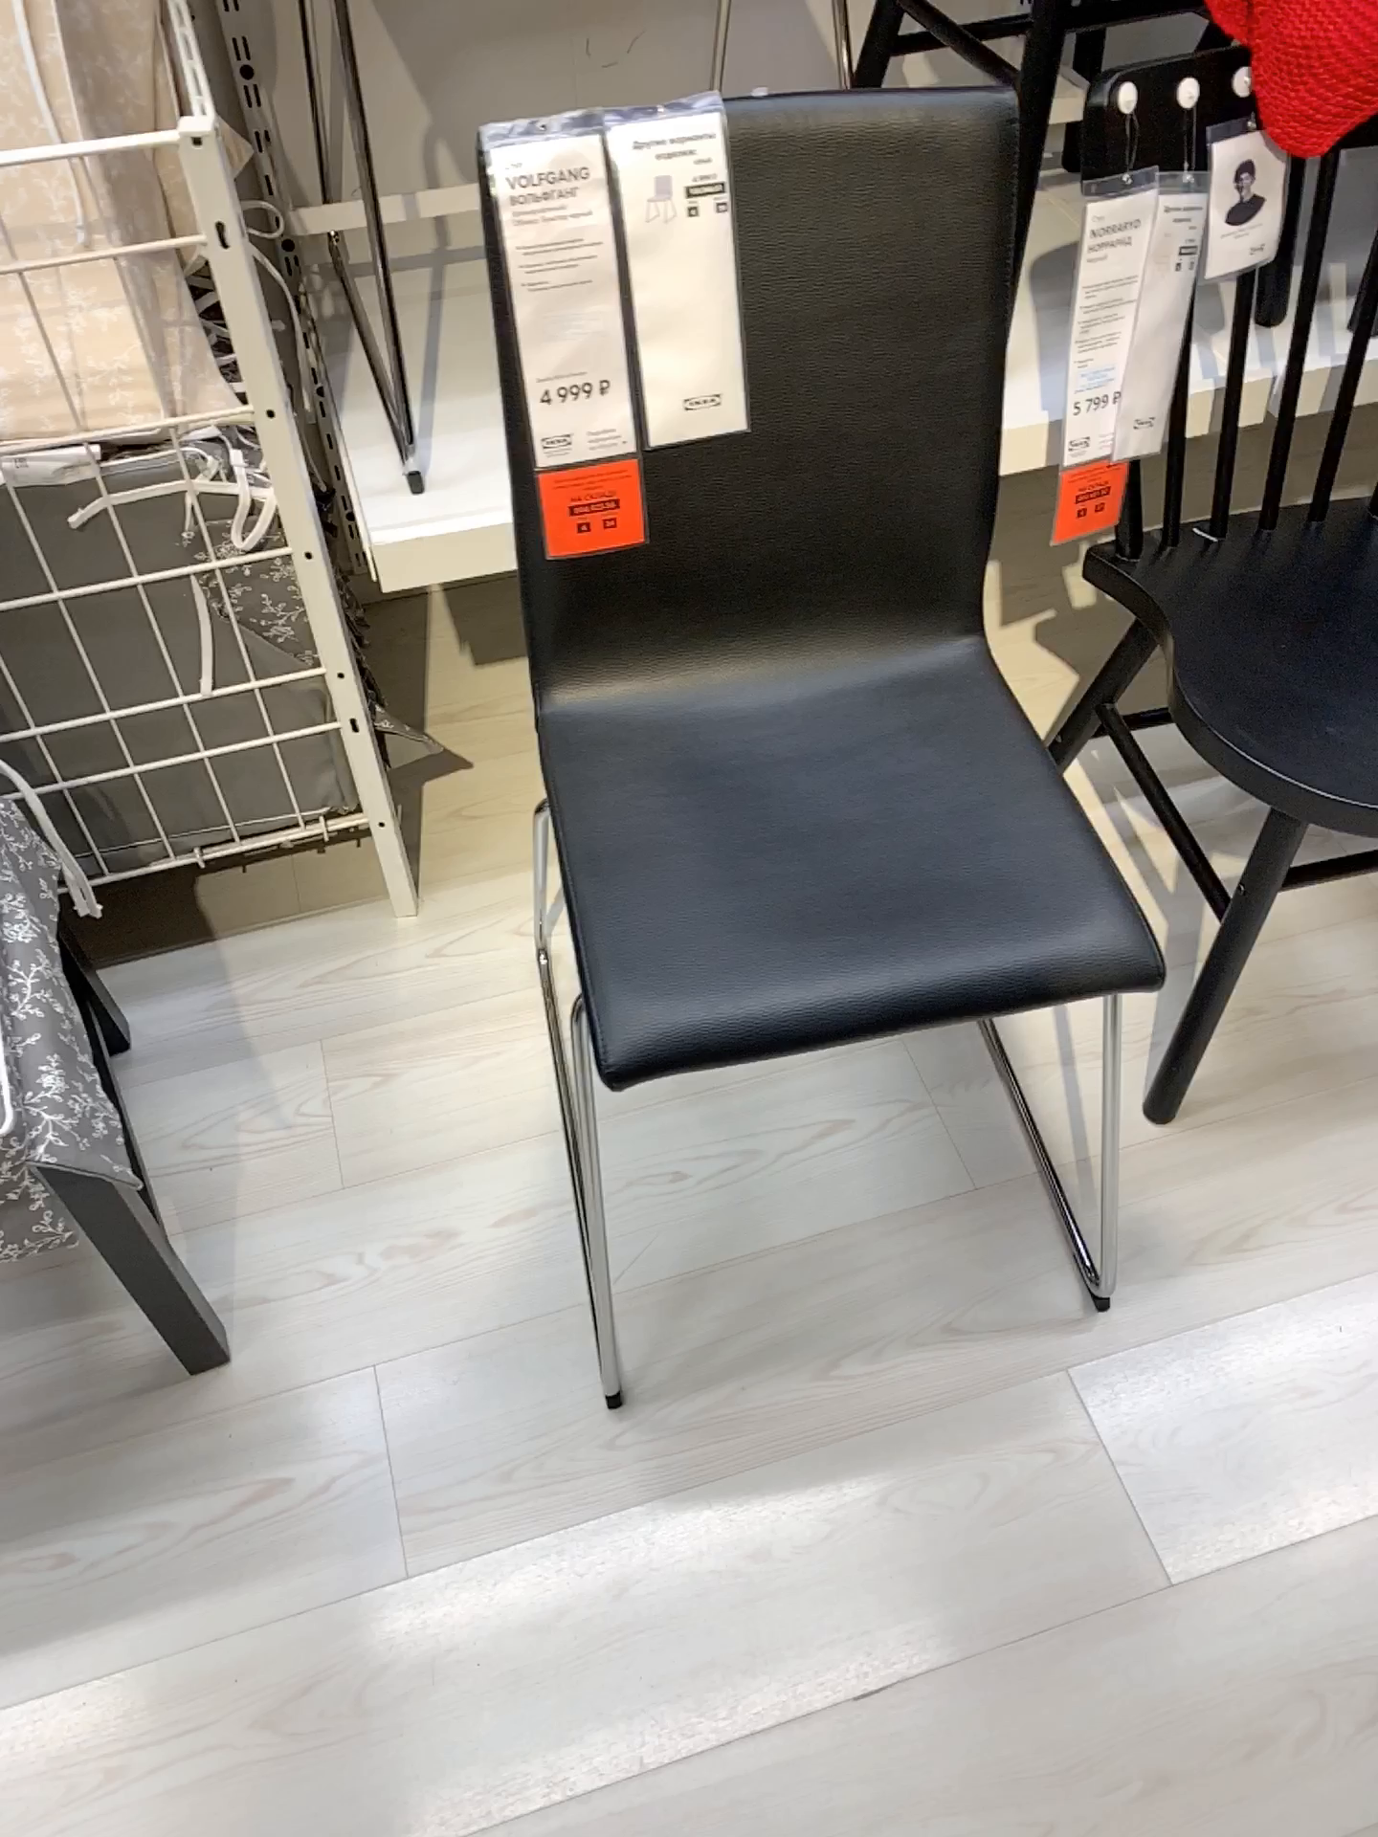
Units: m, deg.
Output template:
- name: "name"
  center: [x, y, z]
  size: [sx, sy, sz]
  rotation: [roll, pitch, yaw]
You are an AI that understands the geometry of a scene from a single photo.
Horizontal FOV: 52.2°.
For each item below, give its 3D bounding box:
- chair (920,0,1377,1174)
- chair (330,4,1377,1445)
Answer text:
- name: "chair"
  center: [0.591, -0.282, 1.305]
  size: [0.471, 0.799, 0.601]
  rotation: [-13, 50, -10]
- name: "chair"
  center: [0.092, -0.104, 1.110]
  size: [0.531, 0.869, 0.611]
  rotation: [-10, 49, -7]
